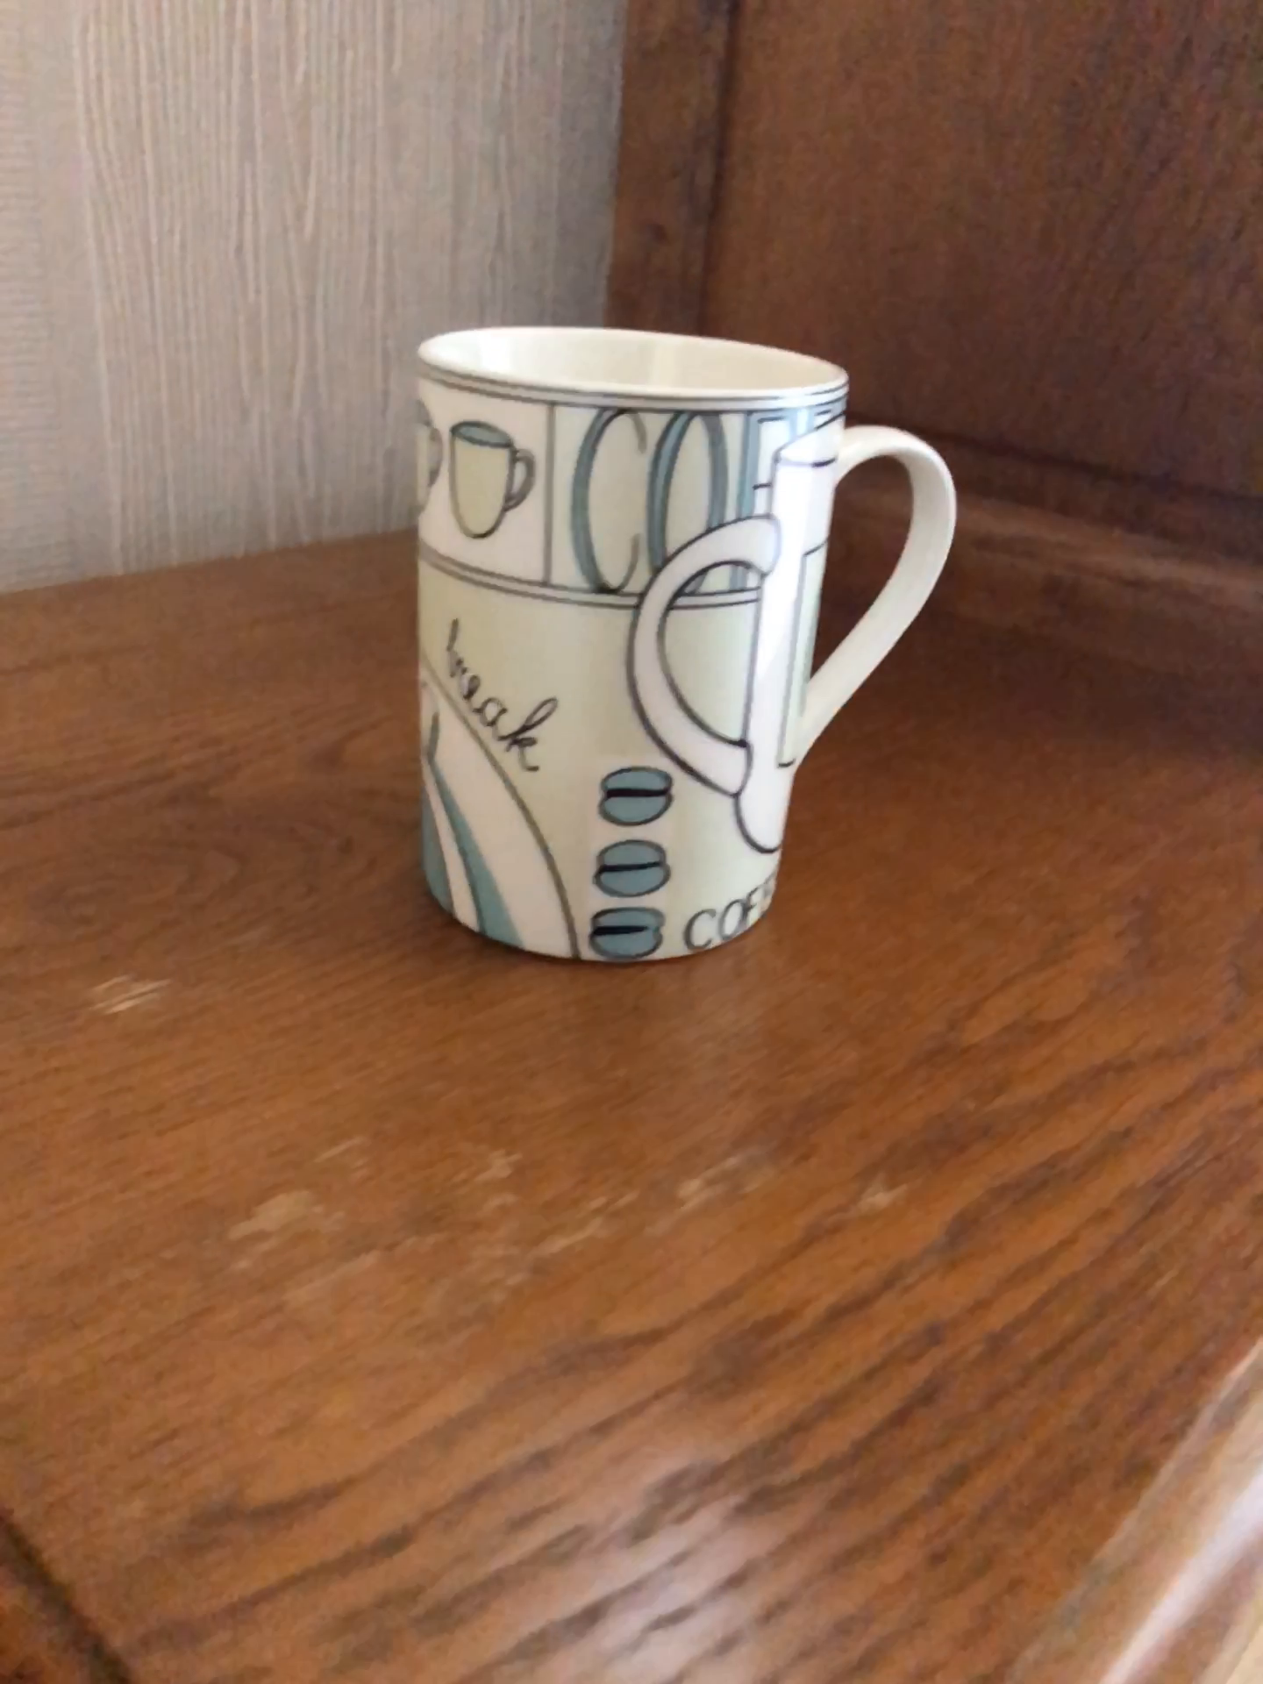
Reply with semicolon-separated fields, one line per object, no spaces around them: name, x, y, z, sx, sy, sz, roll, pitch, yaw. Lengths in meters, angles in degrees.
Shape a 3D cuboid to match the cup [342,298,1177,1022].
cup;0.018;-0.043;0.263;0.120;0.099;0.080;-11;30;-30
